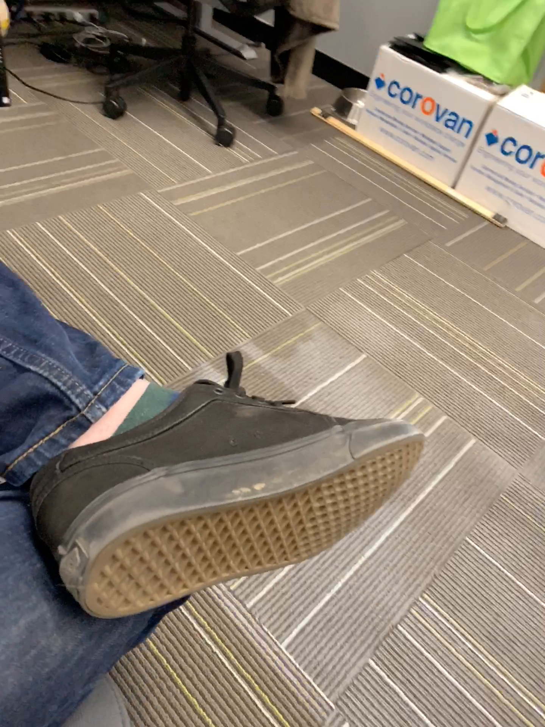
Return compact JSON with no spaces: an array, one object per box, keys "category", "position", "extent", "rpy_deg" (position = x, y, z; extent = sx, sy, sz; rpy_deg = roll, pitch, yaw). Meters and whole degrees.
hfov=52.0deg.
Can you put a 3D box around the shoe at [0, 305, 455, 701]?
[{"category":"shoe","position":[-0.028,0.072,0.389],"extent":[0.260,0.120,0.135],"rpy_deg":[-19,46,-30]}]
